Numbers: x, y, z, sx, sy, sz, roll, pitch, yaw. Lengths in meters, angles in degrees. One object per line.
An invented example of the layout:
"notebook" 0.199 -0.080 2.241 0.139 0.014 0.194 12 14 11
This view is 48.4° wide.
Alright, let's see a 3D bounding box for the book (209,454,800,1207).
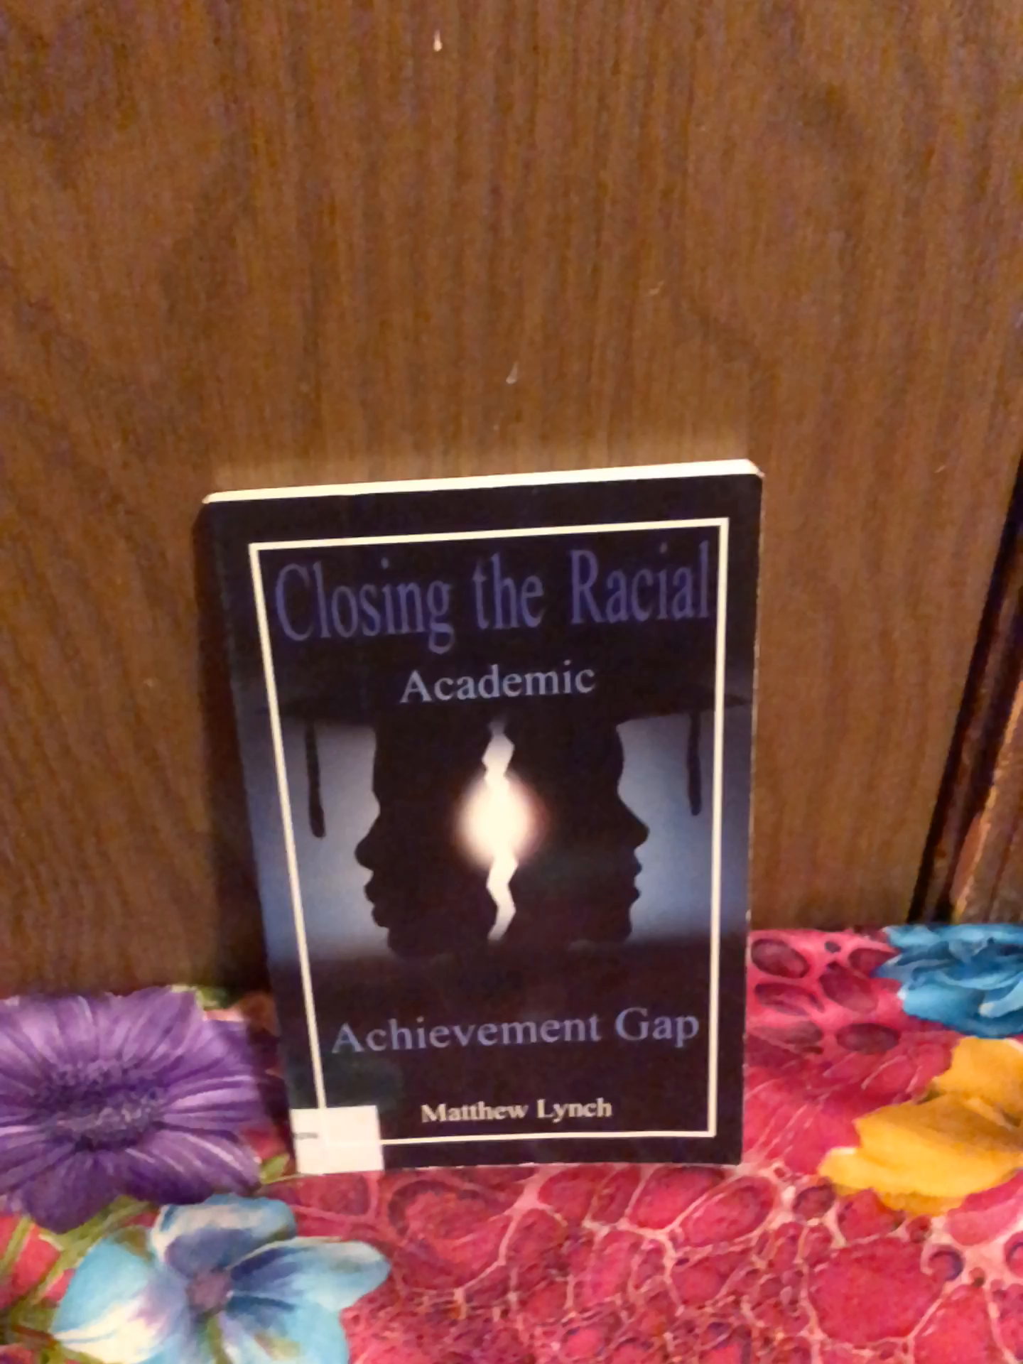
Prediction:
"book" 0.002 0.053 0.340 0.146 0.230 0.036 -3 23 -1
